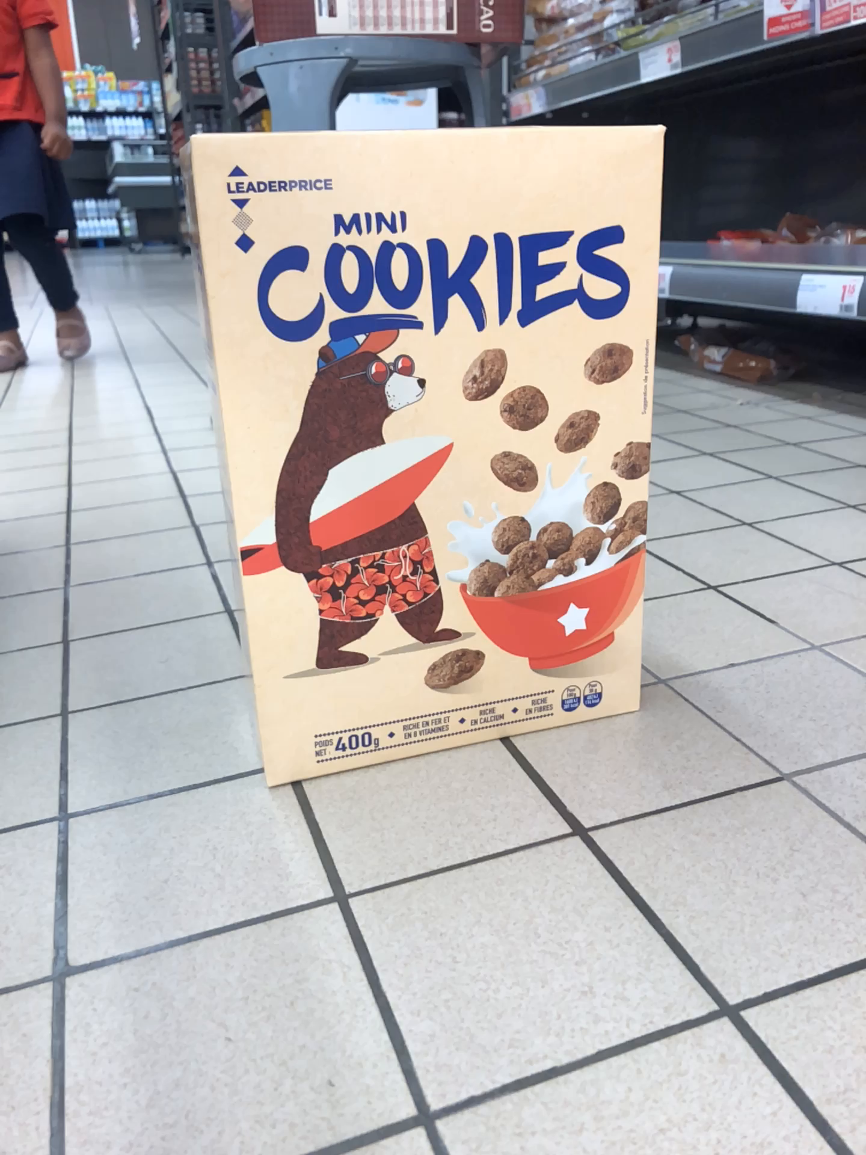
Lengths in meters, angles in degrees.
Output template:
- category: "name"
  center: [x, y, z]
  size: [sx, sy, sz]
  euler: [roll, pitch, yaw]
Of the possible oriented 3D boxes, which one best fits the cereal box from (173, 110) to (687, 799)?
- category: "cereal box"
  center: [0.001, -0.058, 0.444]
  size: [0.200, 0.279, 0.080]
  euler: [-8, 20, -16]
